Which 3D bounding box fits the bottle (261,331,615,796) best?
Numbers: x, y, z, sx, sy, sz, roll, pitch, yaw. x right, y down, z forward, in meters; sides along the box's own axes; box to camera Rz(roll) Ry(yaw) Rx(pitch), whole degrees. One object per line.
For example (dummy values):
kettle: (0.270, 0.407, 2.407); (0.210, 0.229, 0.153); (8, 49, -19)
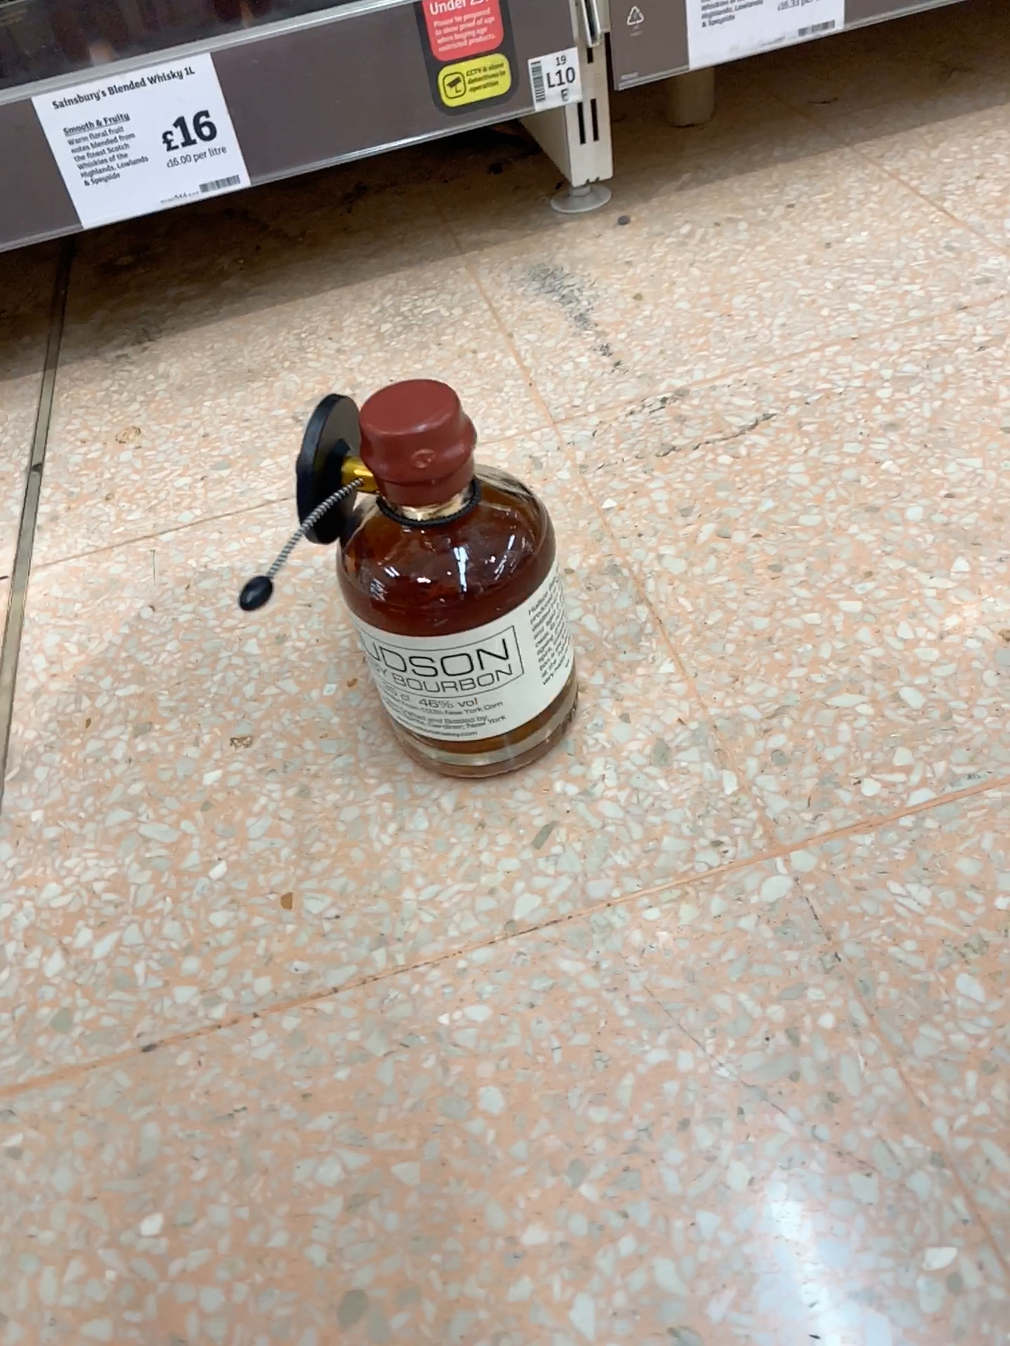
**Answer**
bottle: (-0.013, -0.035, 0.361); (0.075, 0.142, 0.073); (-6, 46, 7)
